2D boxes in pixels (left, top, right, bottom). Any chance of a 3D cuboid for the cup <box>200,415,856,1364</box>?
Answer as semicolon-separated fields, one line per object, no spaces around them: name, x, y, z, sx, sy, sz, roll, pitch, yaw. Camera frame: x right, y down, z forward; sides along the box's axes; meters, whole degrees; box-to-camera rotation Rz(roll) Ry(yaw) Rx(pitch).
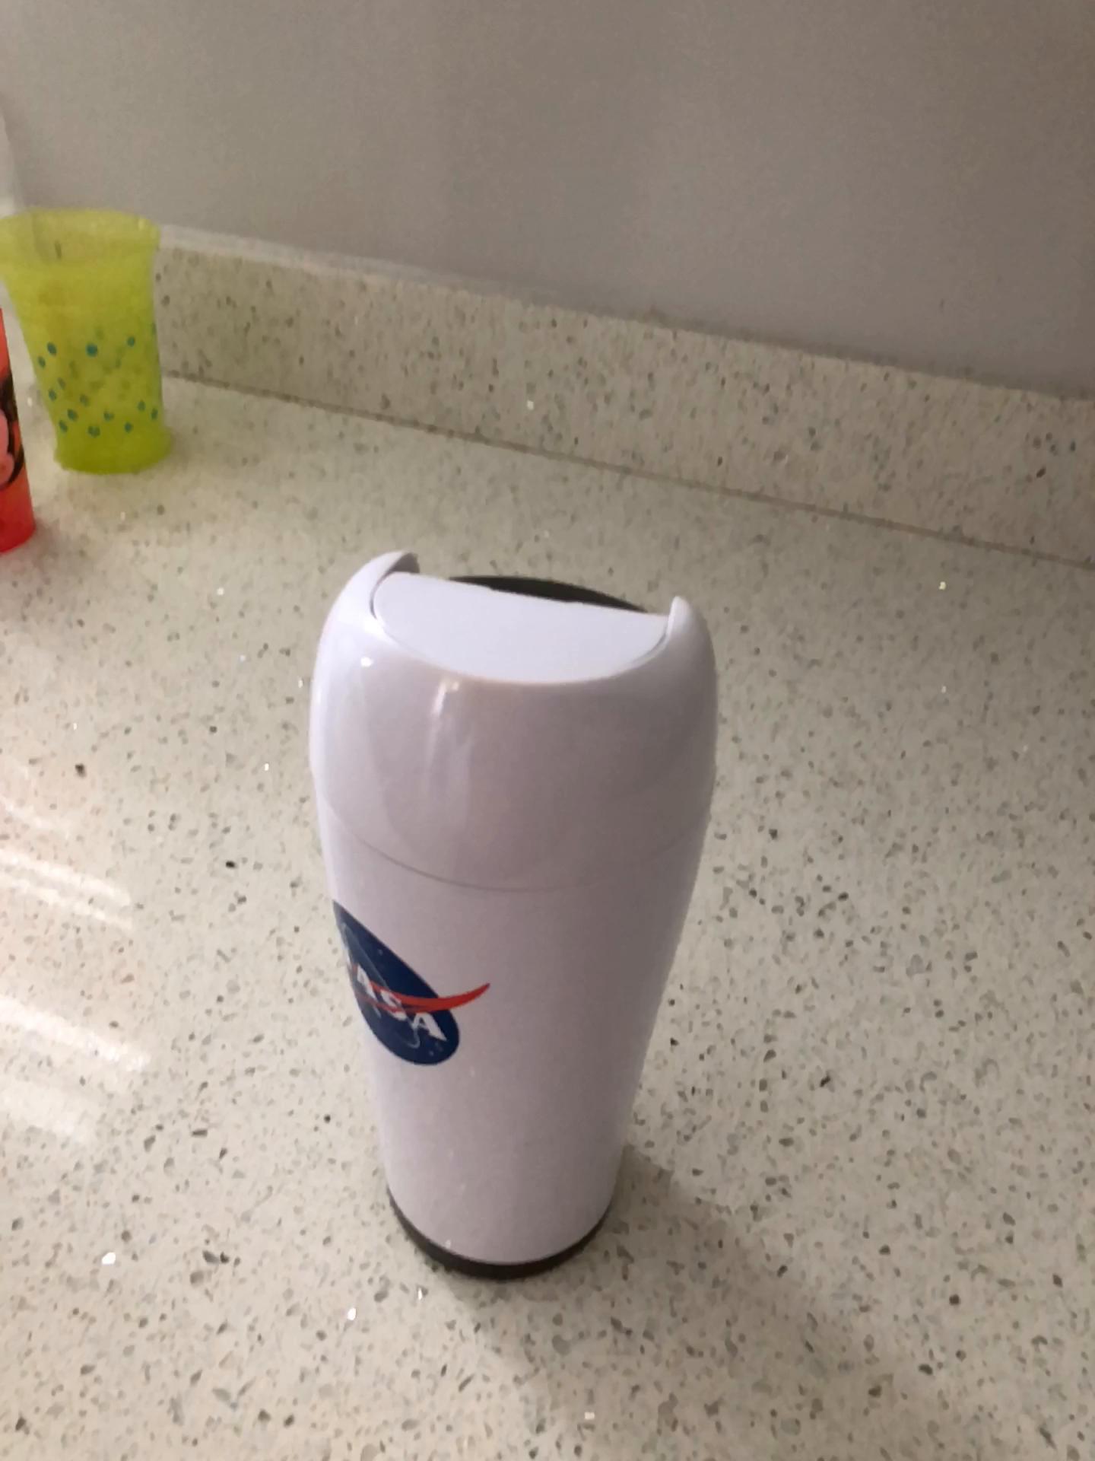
cup;-0.006;0.040;0.264;0.081;0.182;0.078;2;40;-1
